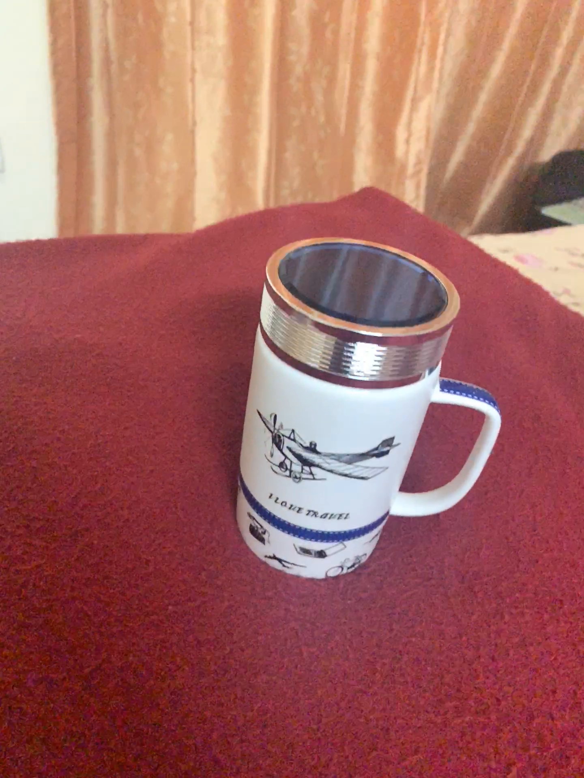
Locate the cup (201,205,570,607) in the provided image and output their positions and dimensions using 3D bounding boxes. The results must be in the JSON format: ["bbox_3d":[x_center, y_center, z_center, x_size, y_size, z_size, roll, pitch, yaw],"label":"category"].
[{"bbox_3d":[0.031,0.009,0.282,0.120,0.139,0.091,11,37,3],"label":"cup"}]
